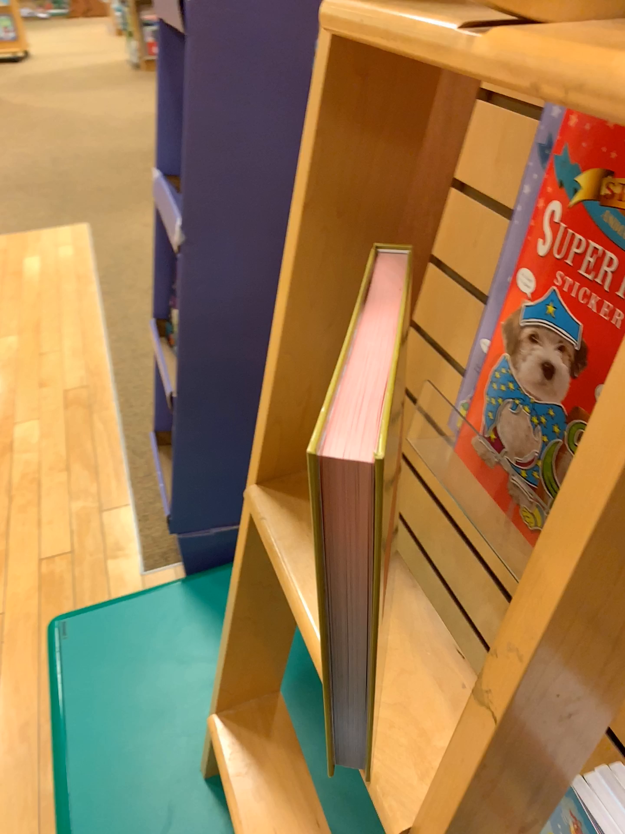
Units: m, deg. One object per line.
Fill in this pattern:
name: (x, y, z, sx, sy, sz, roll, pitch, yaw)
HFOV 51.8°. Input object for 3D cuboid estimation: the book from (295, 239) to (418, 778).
book: (0.029, 0.046, 0.344, 0.030, 0.219, 0.181, 5, 38, 9)
